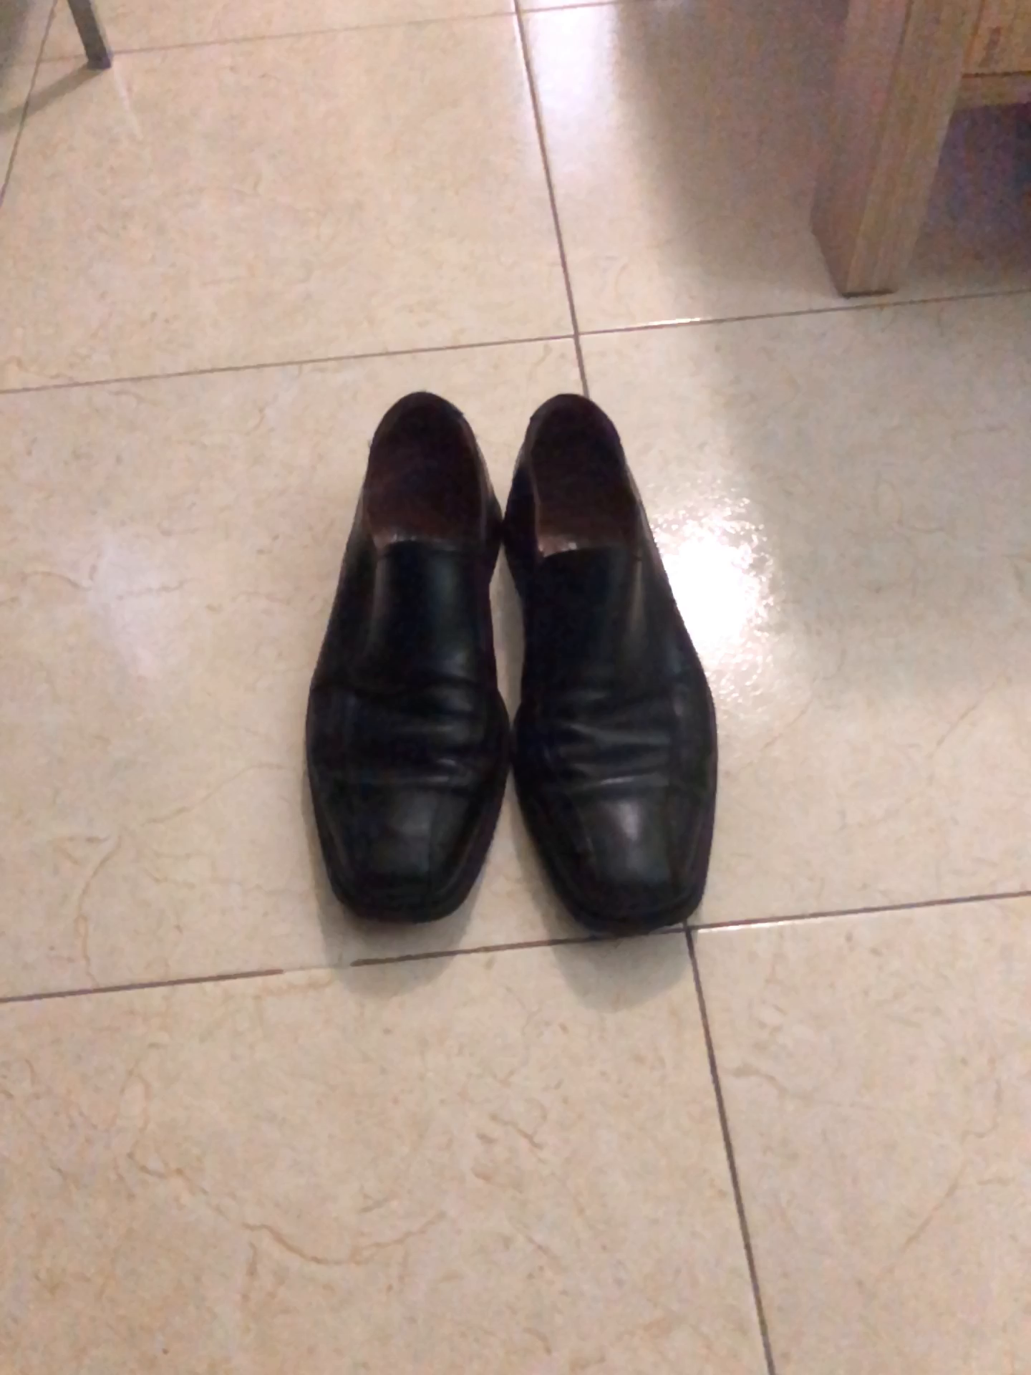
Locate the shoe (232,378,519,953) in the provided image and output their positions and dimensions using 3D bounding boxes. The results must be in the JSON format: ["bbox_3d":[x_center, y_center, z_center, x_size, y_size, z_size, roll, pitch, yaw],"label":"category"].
[{"bbox_3d":[-0.061,-0.024,0.612,0.120,0.090,0.311,-2,56,2],"label":"shoe"}]

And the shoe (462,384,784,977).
[{"bbox_3d":[0.044,-0.017,0.608,0.120,0.090,0.311,-6,56,0],"label":"shoe"}]
